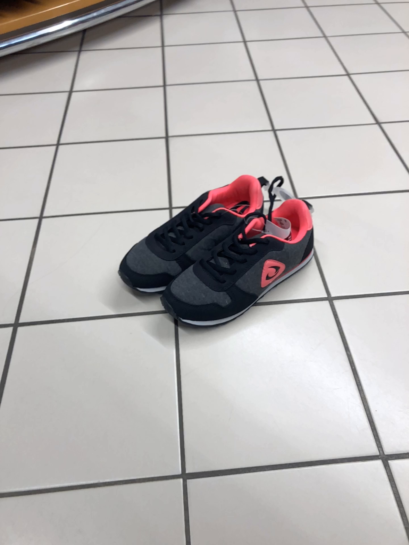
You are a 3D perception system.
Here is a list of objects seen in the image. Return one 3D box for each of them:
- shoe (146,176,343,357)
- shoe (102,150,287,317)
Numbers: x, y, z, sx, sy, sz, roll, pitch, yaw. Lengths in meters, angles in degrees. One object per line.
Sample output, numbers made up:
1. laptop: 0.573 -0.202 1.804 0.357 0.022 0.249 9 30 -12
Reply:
1. shoe: 0.051 -0.014 0.553 0.221 0.099 0.090 -31 55 -24
2. shoe: -0.007 -0.058 0.593 0.221 0.099 0.090 -32 55 -24
